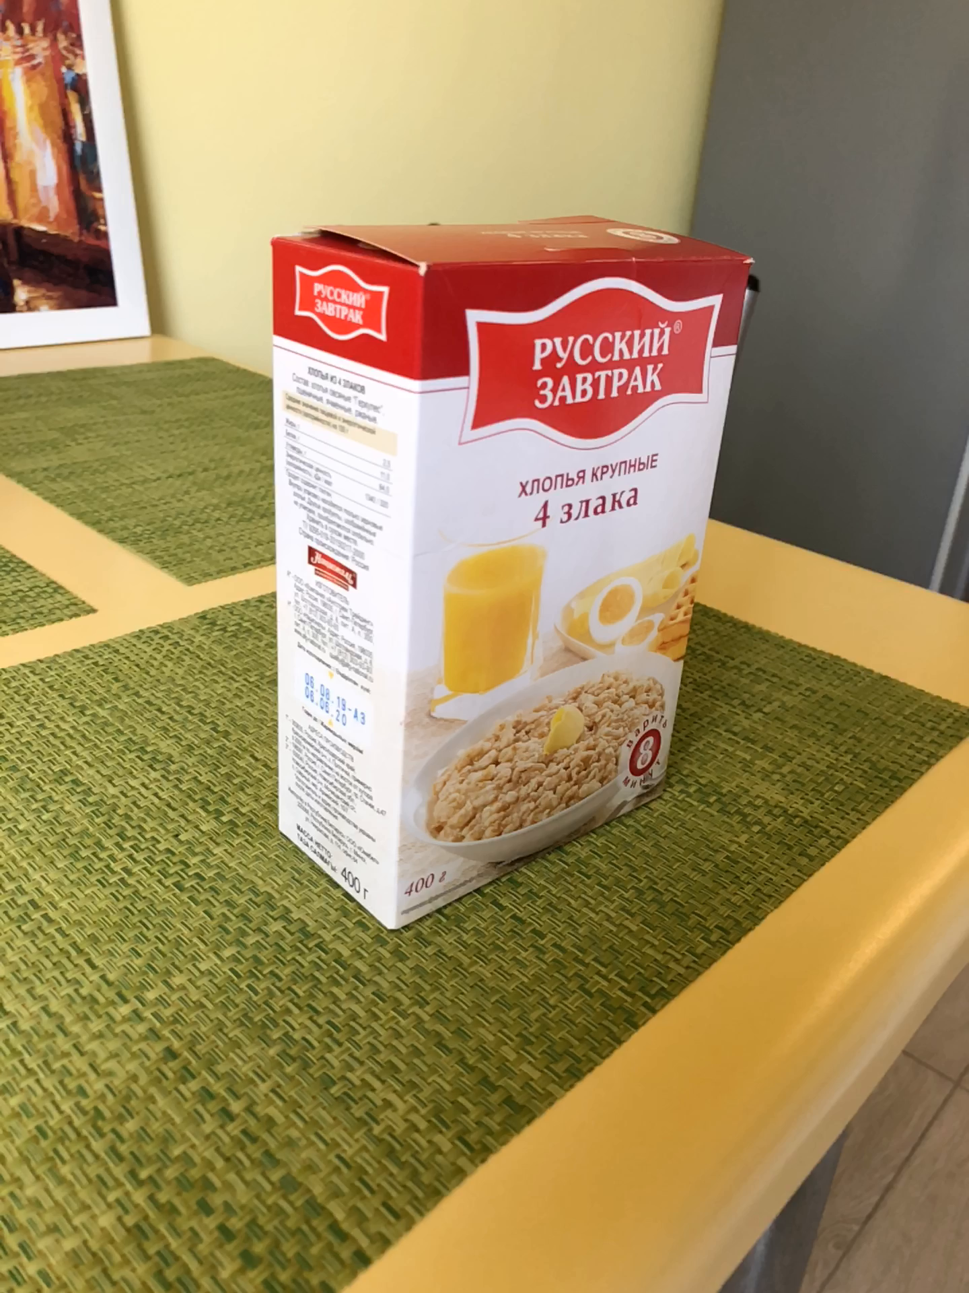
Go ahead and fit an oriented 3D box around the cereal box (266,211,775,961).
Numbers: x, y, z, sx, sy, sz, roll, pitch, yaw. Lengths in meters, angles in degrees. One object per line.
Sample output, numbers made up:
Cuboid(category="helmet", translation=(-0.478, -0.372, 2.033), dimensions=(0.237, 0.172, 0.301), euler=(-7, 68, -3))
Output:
Cuboid(category="cereal box", translation=(0.006, -0.025, 0.337), dimensions=(0.131, 0.199, 0.070), euler=(-17, 32, -40))
